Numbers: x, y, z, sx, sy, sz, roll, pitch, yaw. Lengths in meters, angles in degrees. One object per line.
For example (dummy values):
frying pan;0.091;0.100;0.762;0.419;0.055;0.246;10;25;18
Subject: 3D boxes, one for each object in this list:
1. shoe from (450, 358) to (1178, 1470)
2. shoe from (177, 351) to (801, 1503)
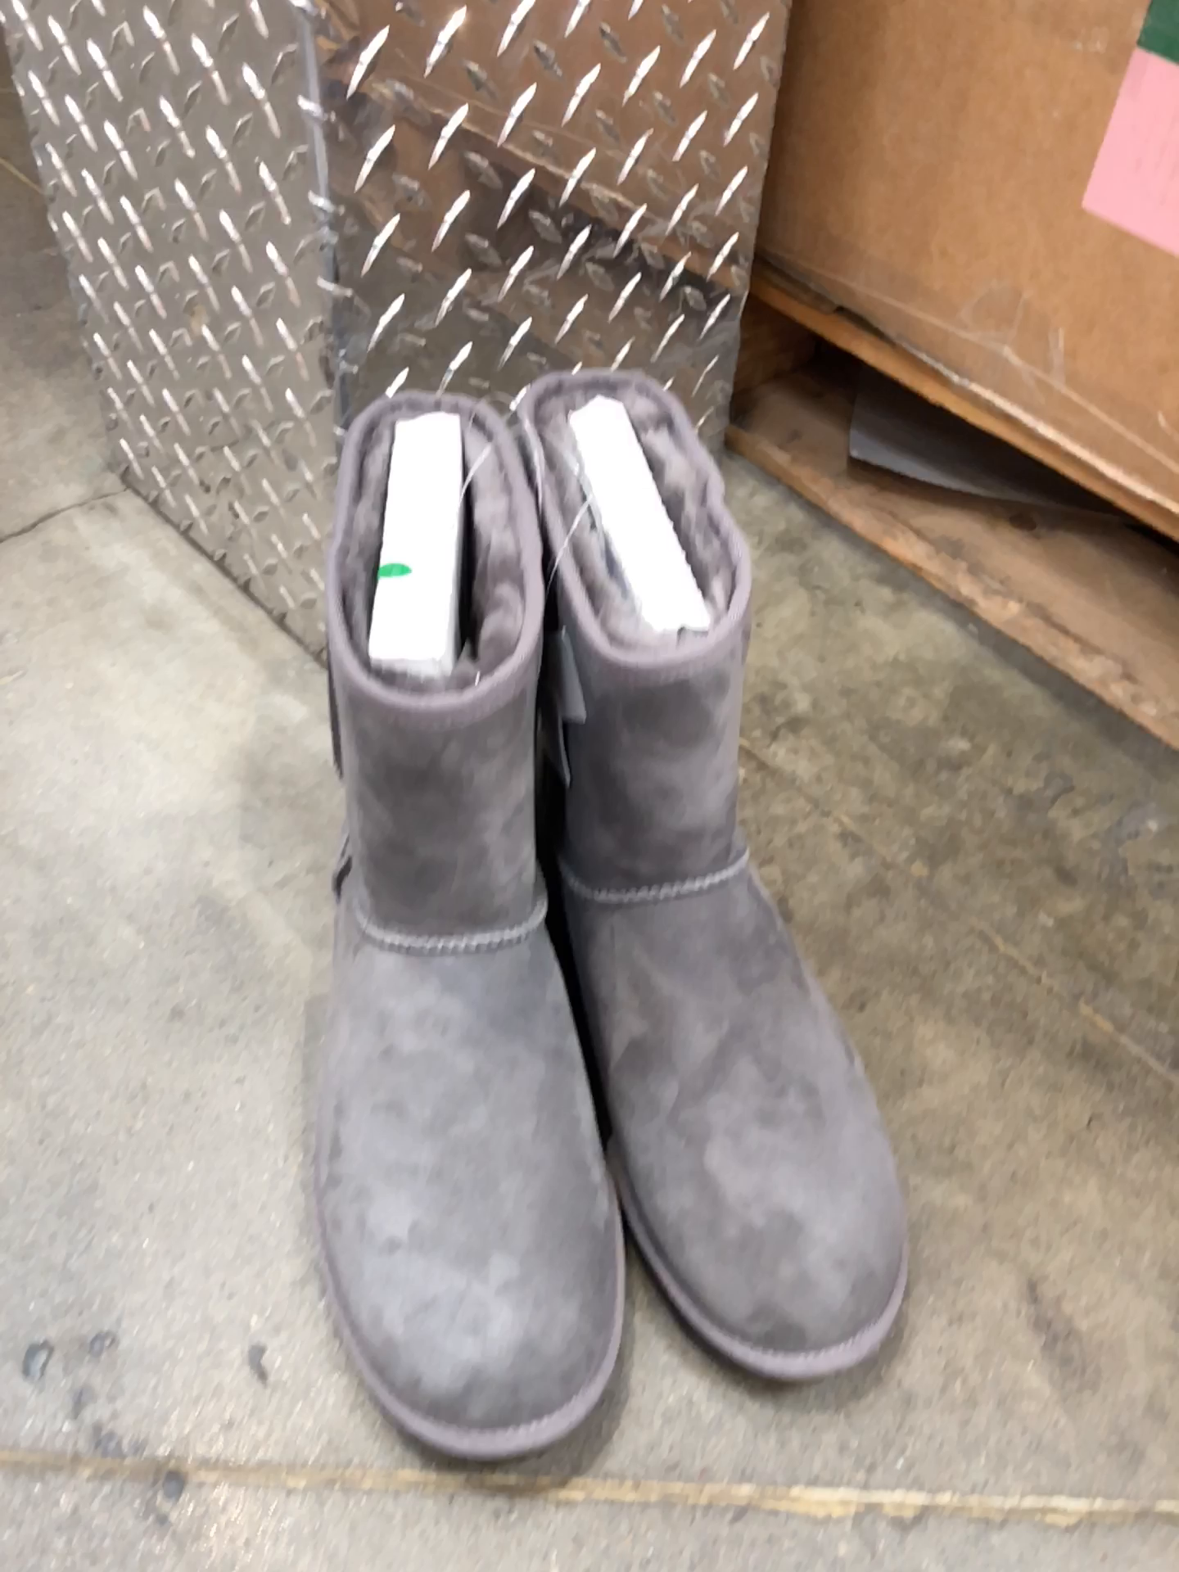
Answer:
shoe;0.042;0.040;0.444;0.110;0.239;0.271;-12;50;-14
shoe;-0.046;0.041;0.432;0.120;0.239;0.281;-5;49;-8
